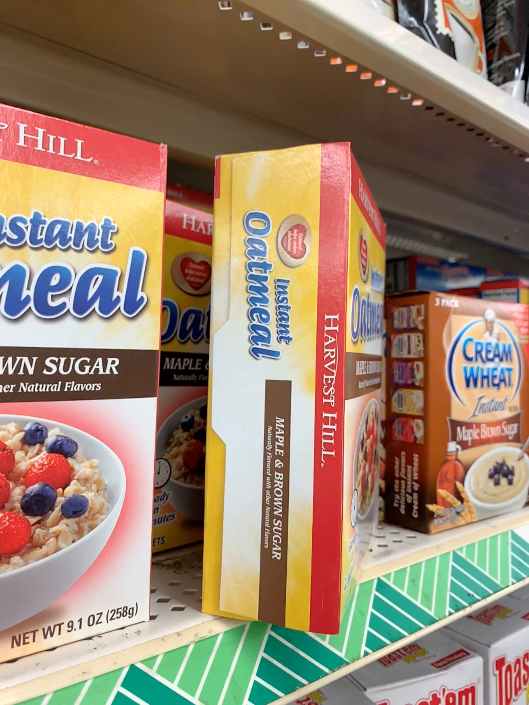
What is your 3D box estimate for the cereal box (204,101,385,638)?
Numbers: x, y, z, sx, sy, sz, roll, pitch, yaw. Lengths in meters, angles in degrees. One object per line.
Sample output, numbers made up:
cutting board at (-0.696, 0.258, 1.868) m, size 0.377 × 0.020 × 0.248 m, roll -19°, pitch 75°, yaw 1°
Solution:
cereal box at (0.023, 0.006, 0.256) m, size 0.050 × 0.180 × 0.130 m, roll 0°, pitch -2°, yaw 17°
